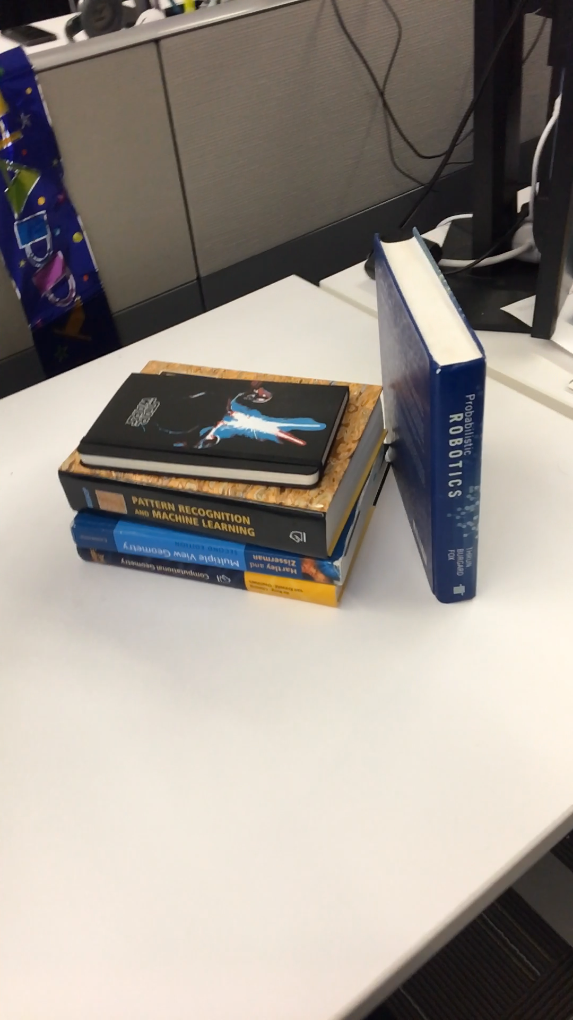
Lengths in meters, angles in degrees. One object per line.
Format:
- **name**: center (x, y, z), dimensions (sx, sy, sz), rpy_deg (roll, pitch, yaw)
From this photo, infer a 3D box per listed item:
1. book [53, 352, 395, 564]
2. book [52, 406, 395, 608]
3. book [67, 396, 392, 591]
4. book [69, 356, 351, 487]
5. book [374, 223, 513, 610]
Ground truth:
- **book**: center (-0.045, -0.054, 0.731), dimensions (0.240, 0.050, 0.180), rpy_deg (9, 44, 17)
- **book**: center (-0.050, -0.014, 0.777), dimensions (0.260, 0.030, 0.190), rpy_deg (9, 44, 17)
- **book**: center (-0.042, -0.025, 0.757), dimensions (0.240, 0.030, 0.190), rpy_deg (7, 43, 15)
- **book**: center (-0.058, -0.077, 0.697), dimensions (0.200, 0.020, 0.130), rpy_deg (6, 43, 13)
- **book**: center (0.117, -0.076, 0.691), dimensions (0.050, 0.230, 0.210), rpy_deg (-7, 42, -1)
